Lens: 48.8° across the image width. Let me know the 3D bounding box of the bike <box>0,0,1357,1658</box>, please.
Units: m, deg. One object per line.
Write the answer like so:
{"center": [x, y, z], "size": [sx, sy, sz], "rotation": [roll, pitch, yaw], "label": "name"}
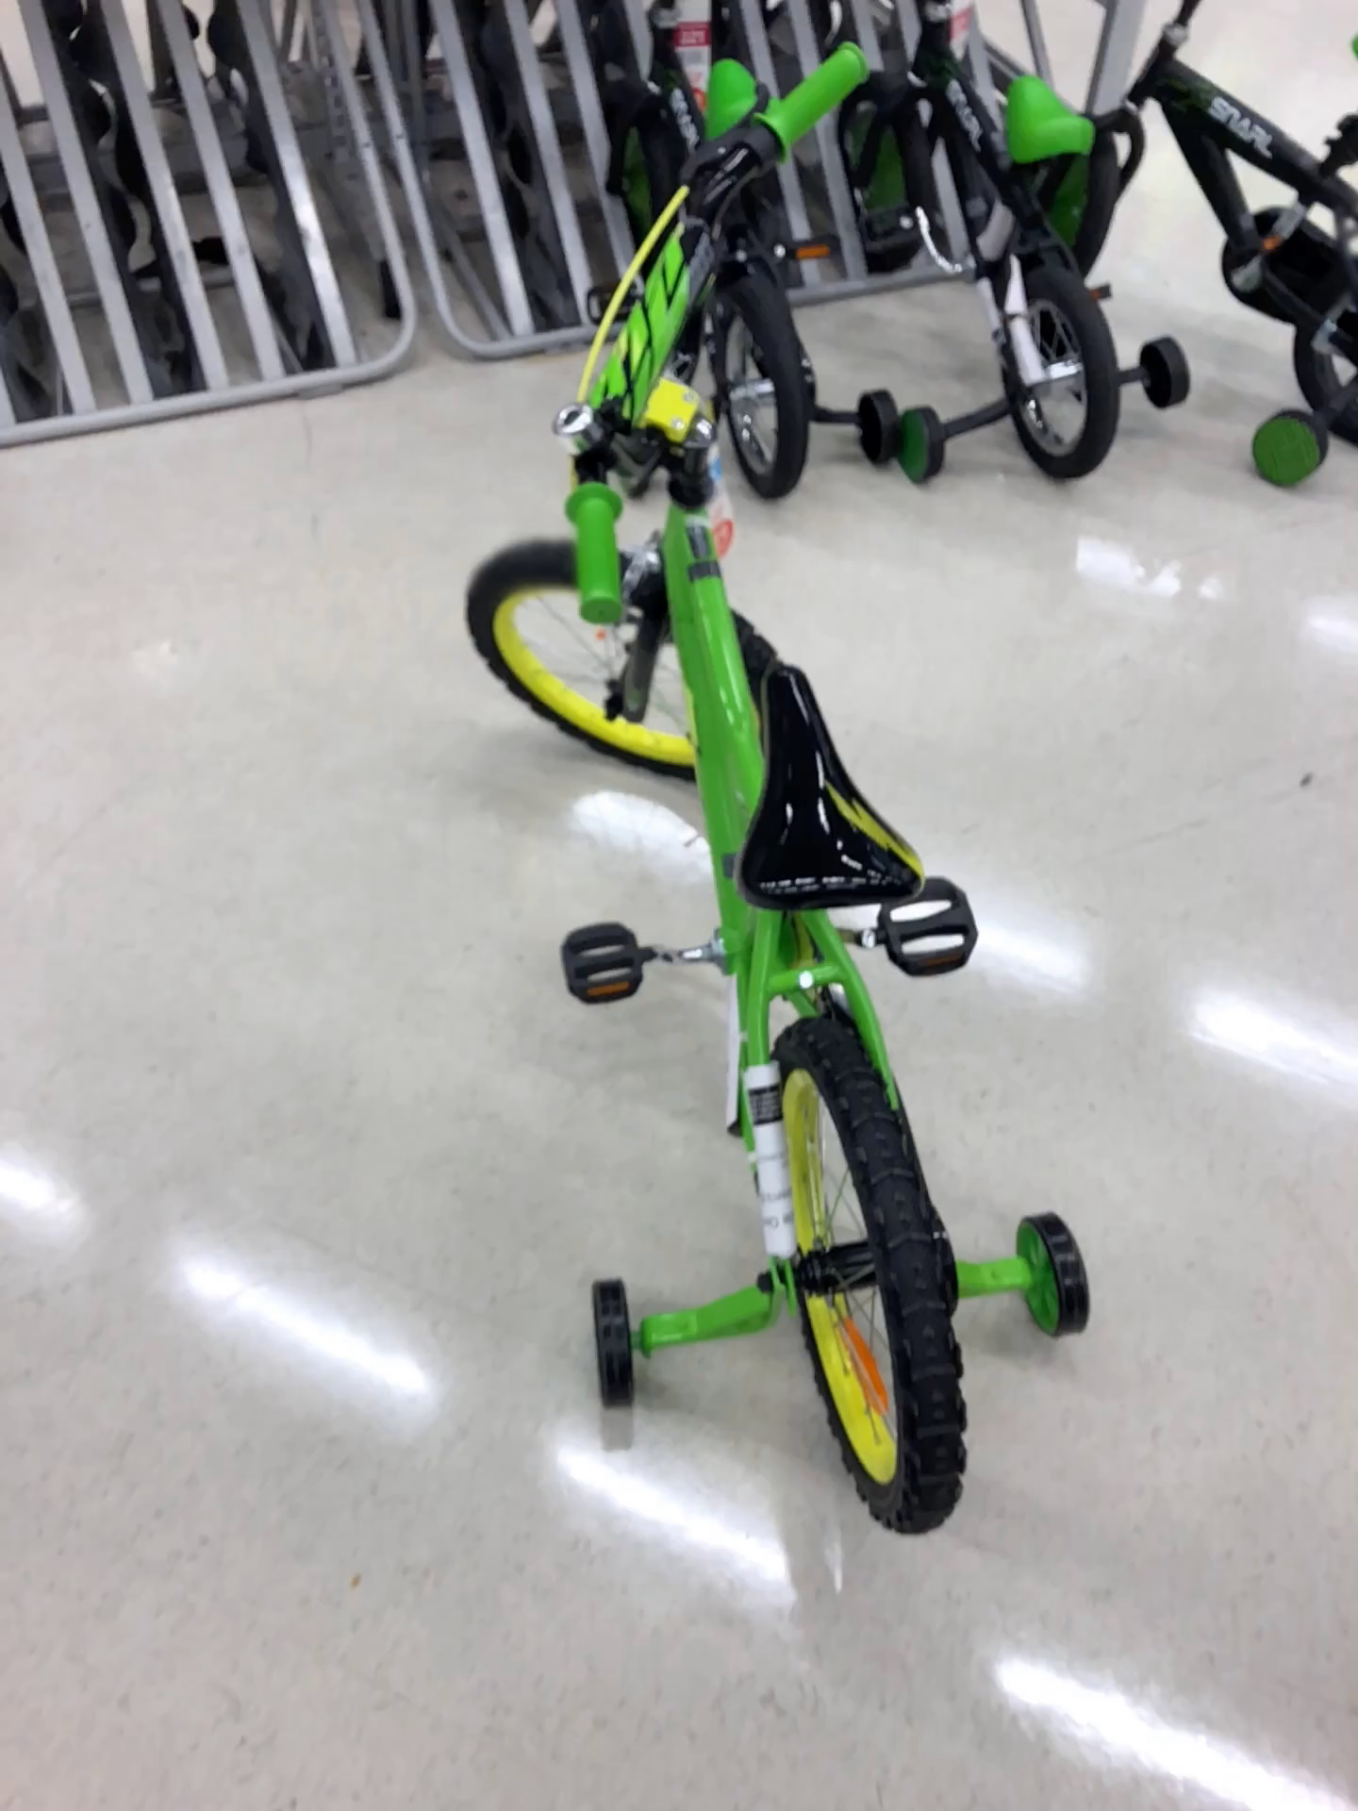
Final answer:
{"center": [-0.021, -0.134, 1.170], "size": [0.552, 0.807, 1.048], "rotation": [-17, 58, -15], "label": "bike"}
